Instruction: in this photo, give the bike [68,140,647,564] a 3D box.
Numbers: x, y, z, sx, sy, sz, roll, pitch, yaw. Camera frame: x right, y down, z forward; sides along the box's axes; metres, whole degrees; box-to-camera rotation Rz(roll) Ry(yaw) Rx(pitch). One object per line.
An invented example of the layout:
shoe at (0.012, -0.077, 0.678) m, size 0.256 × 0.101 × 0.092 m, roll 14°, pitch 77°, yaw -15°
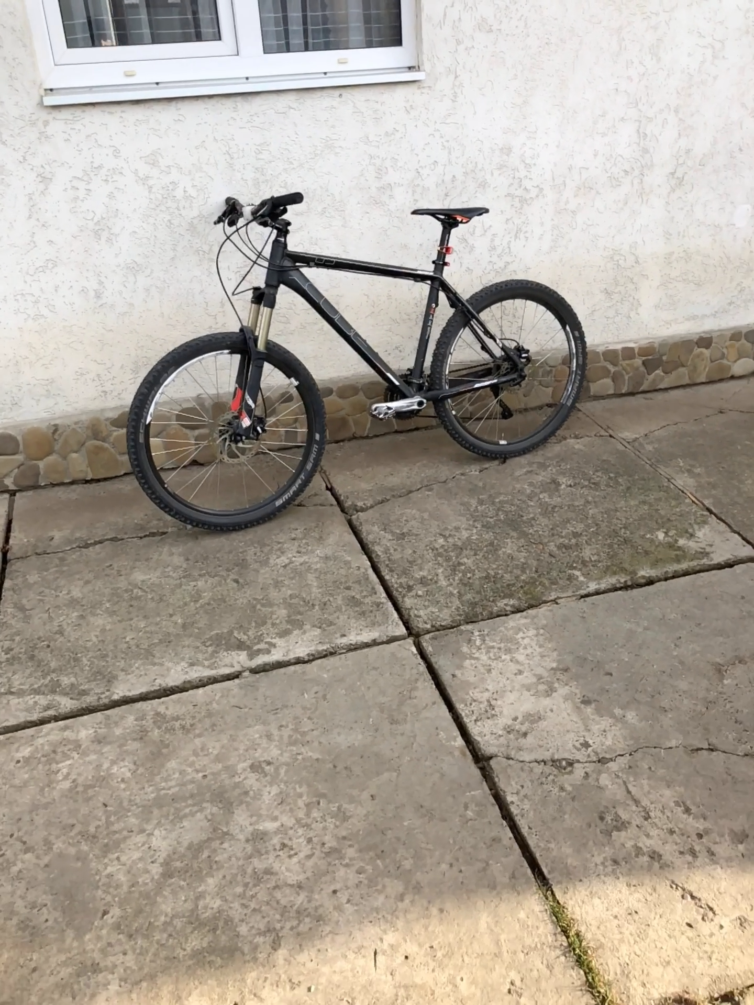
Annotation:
bike at (-0.035, -0.619, 2.951) m, size 1.774 × 1.090 × 0.689 m, roll -13°, pitch 31°, yaw -20°
